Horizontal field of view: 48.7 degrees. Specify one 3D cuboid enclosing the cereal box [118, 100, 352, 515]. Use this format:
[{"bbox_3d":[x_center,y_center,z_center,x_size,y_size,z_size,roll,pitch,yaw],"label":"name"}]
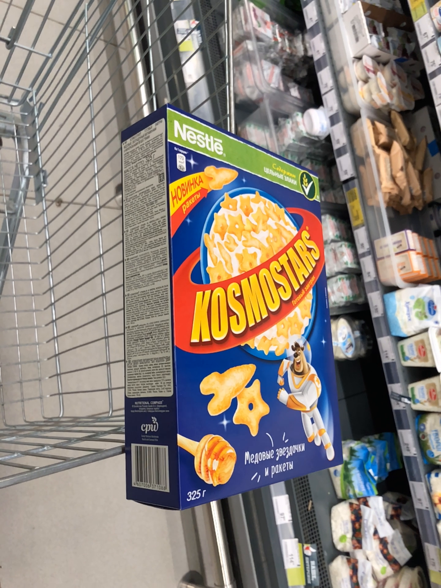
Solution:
[{"bbox_3d":[0.018,0.012,0.415,0.201,0.060,0.280,7,76,-44],"label":"cereal box"}]
